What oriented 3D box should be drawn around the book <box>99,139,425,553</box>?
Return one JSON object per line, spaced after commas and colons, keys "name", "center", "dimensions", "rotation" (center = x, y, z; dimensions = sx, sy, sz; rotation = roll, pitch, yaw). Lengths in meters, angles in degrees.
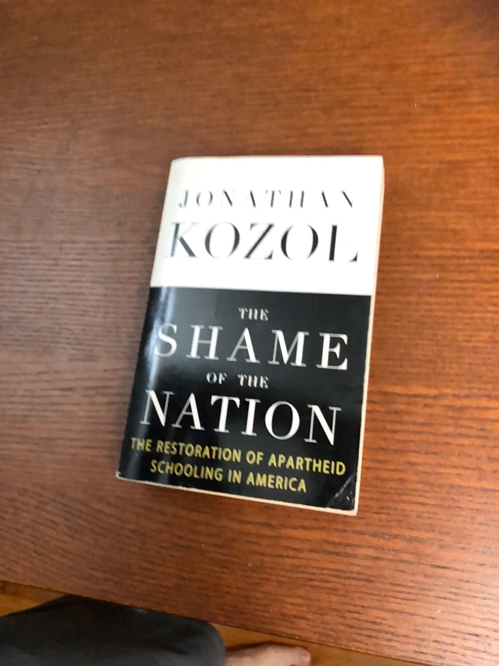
{"name": "book", "center": [0.012, -0.006, 0.333], "dimensions": [0.160, 0.030, 0.230], "rotation": [5, 76, 15]}
